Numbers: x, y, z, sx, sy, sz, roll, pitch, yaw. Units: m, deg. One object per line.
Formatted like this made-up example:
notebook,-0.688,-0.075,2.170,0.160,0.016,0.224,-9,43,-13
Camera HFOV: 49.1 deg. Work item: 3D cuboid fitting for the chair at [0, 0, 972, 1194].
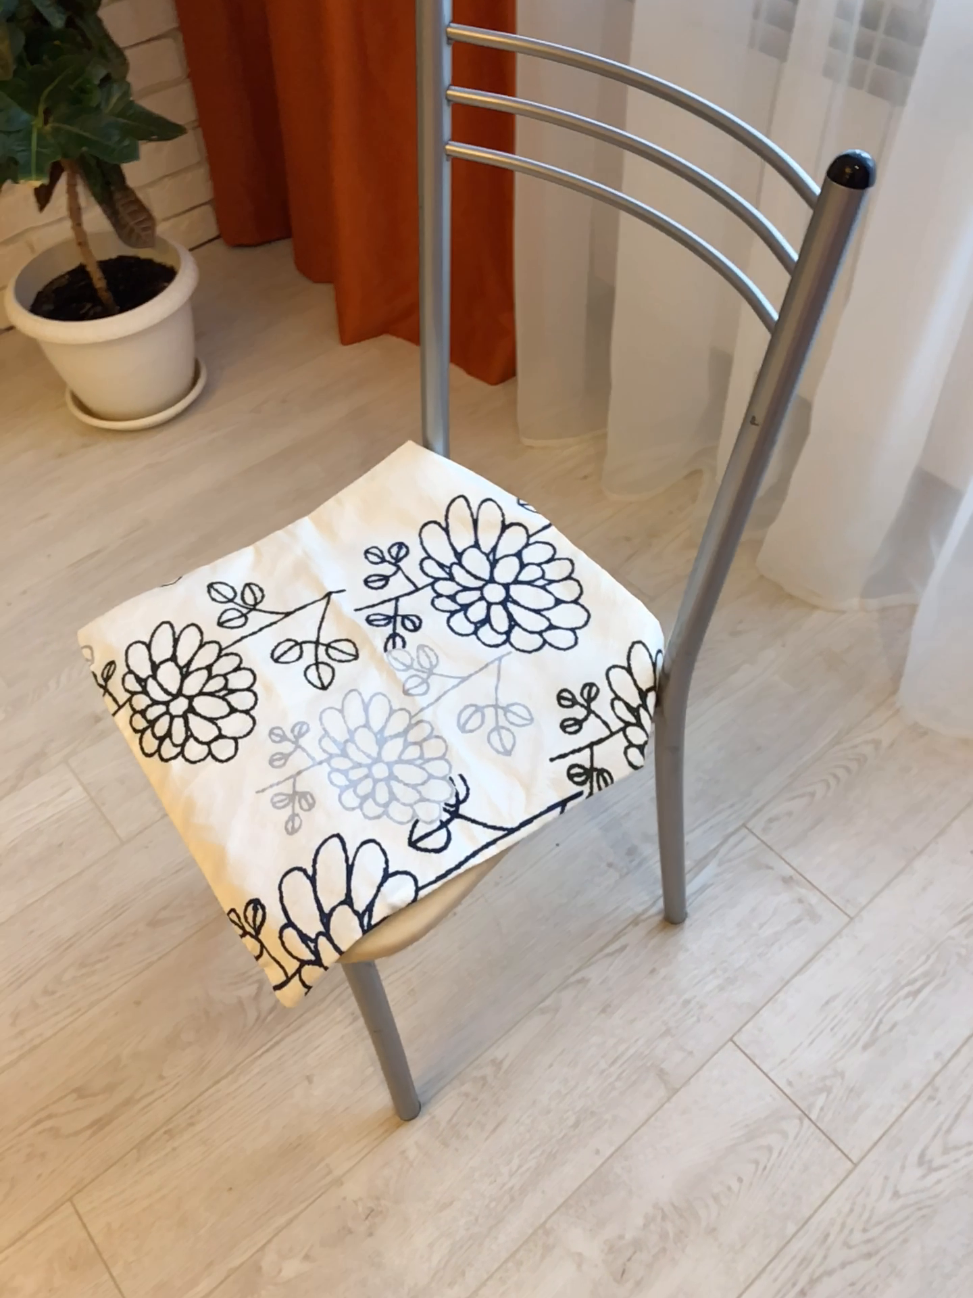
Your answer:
chair,-0.035,0.006,0.852,0.441,0.795,0.422,-34,56,-22
